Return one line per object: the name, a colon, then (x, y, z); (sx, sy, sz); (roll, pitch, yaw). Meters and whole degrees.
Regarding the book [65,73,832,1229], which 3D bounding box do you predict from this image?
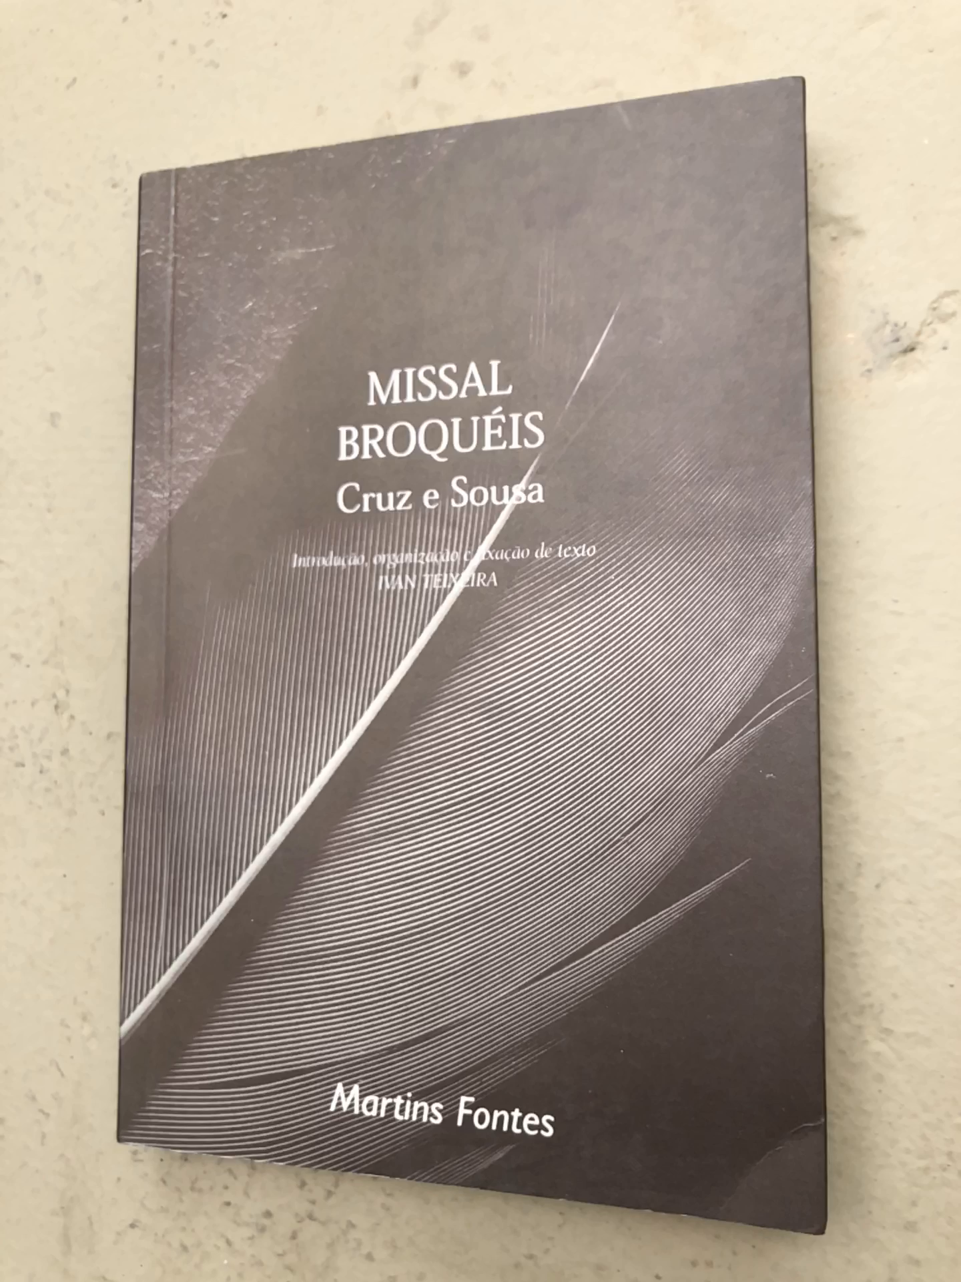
book: (-0.009, 0.000, 0.187); (0.128, 0.016, 0.173); (-1, 86, 15)
